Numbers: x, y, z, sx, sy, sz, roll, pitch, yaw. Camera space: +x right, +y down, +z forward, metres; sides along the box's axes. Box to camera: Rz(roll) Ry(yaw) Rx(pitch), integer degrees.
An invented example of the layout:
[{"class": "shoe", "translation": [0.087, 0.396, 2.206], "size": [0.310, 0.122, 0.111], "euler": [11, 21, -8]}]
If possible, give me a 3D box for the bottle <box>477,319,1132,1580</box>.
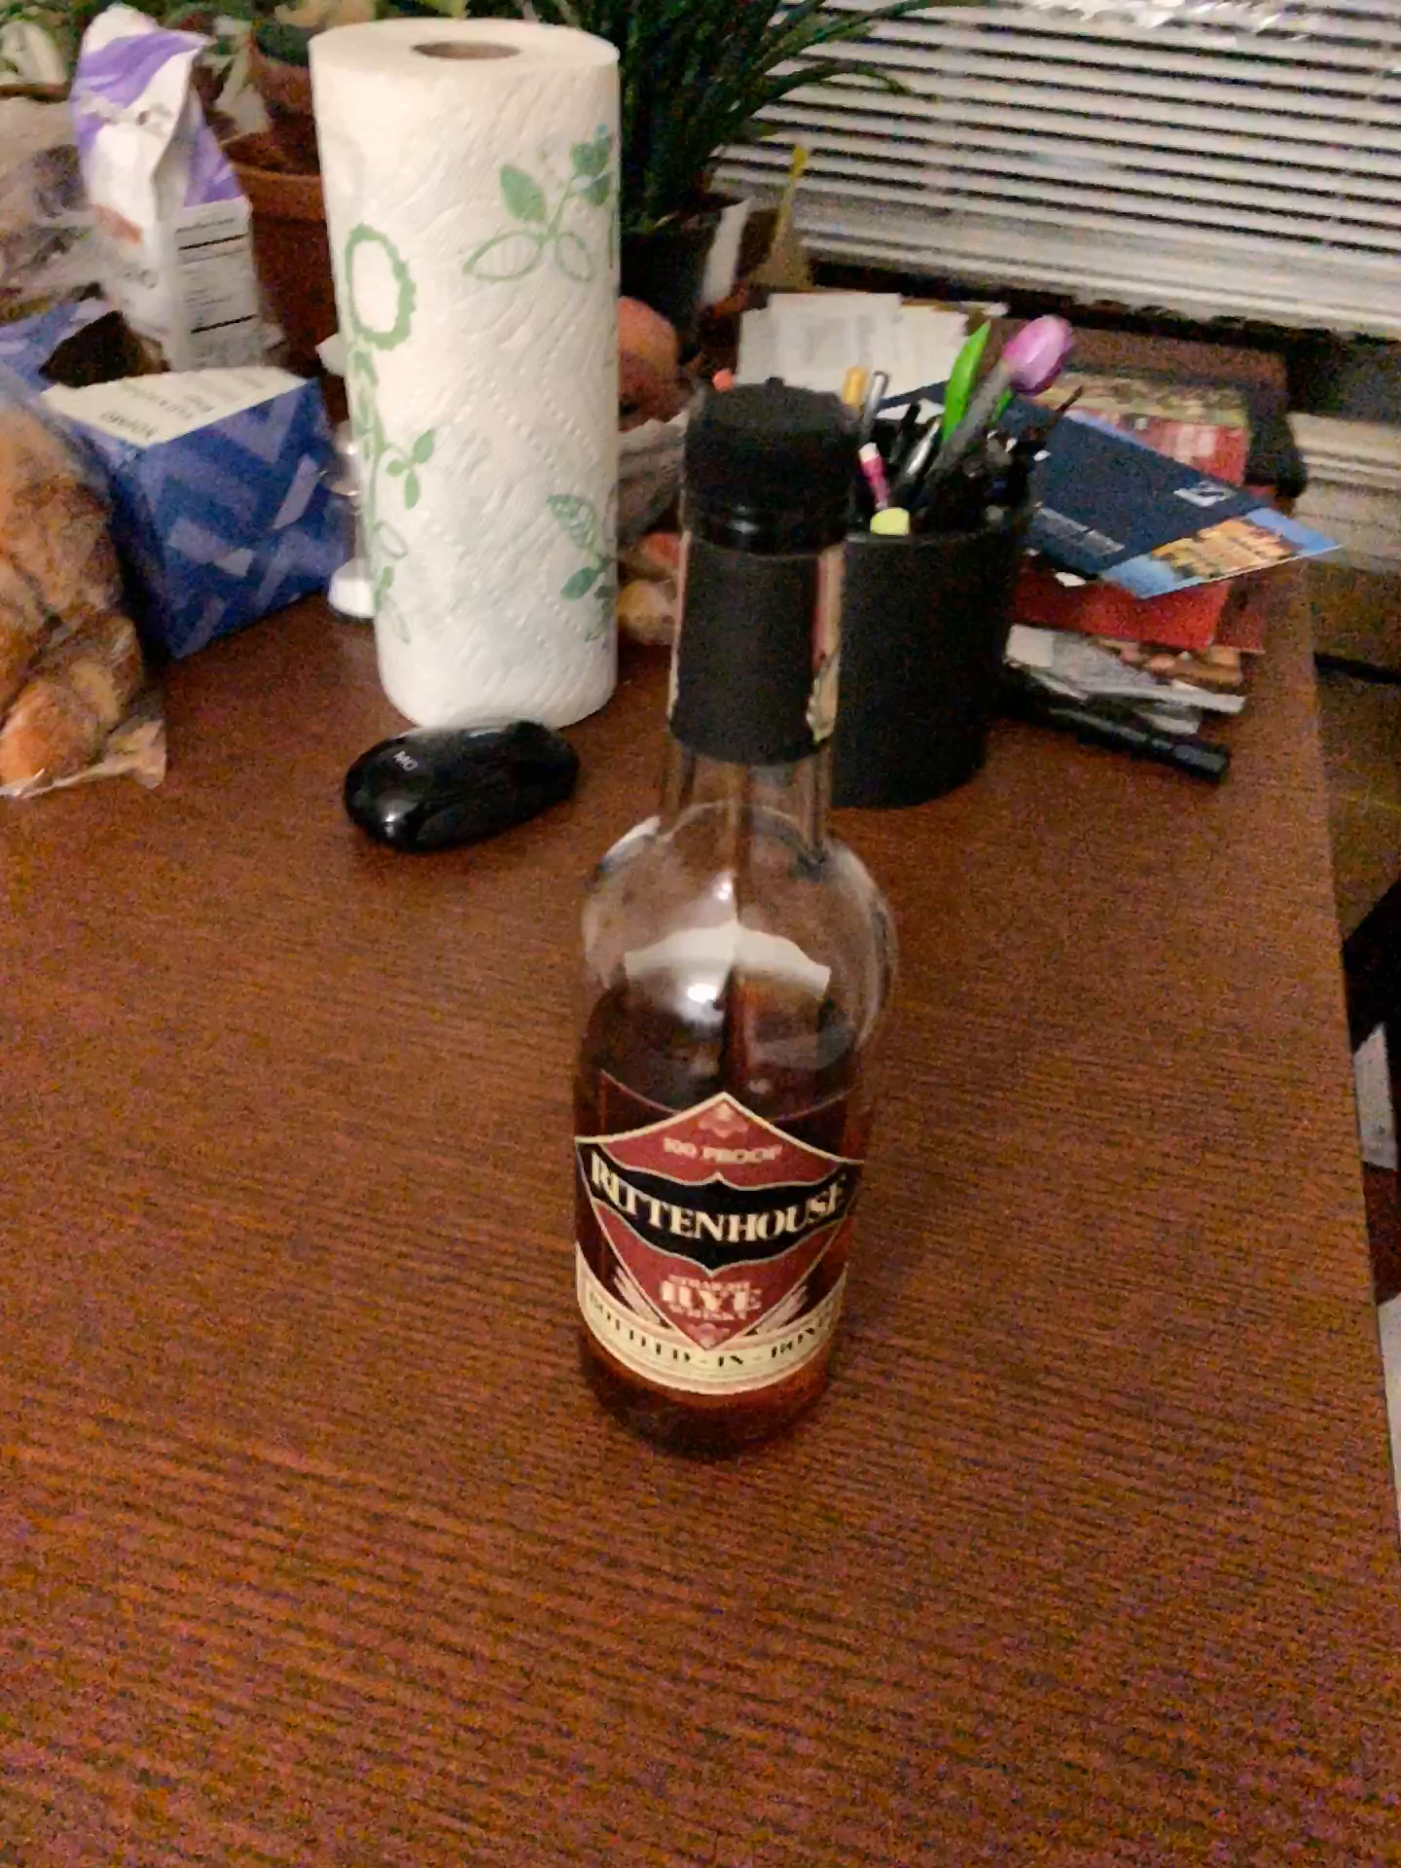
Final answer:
[{"class": "bottle", "translation": [0.010, 0.028, 0.324], "size": [0.090, 0.288, 0.091], "euler": [2, 40, -2]}]
